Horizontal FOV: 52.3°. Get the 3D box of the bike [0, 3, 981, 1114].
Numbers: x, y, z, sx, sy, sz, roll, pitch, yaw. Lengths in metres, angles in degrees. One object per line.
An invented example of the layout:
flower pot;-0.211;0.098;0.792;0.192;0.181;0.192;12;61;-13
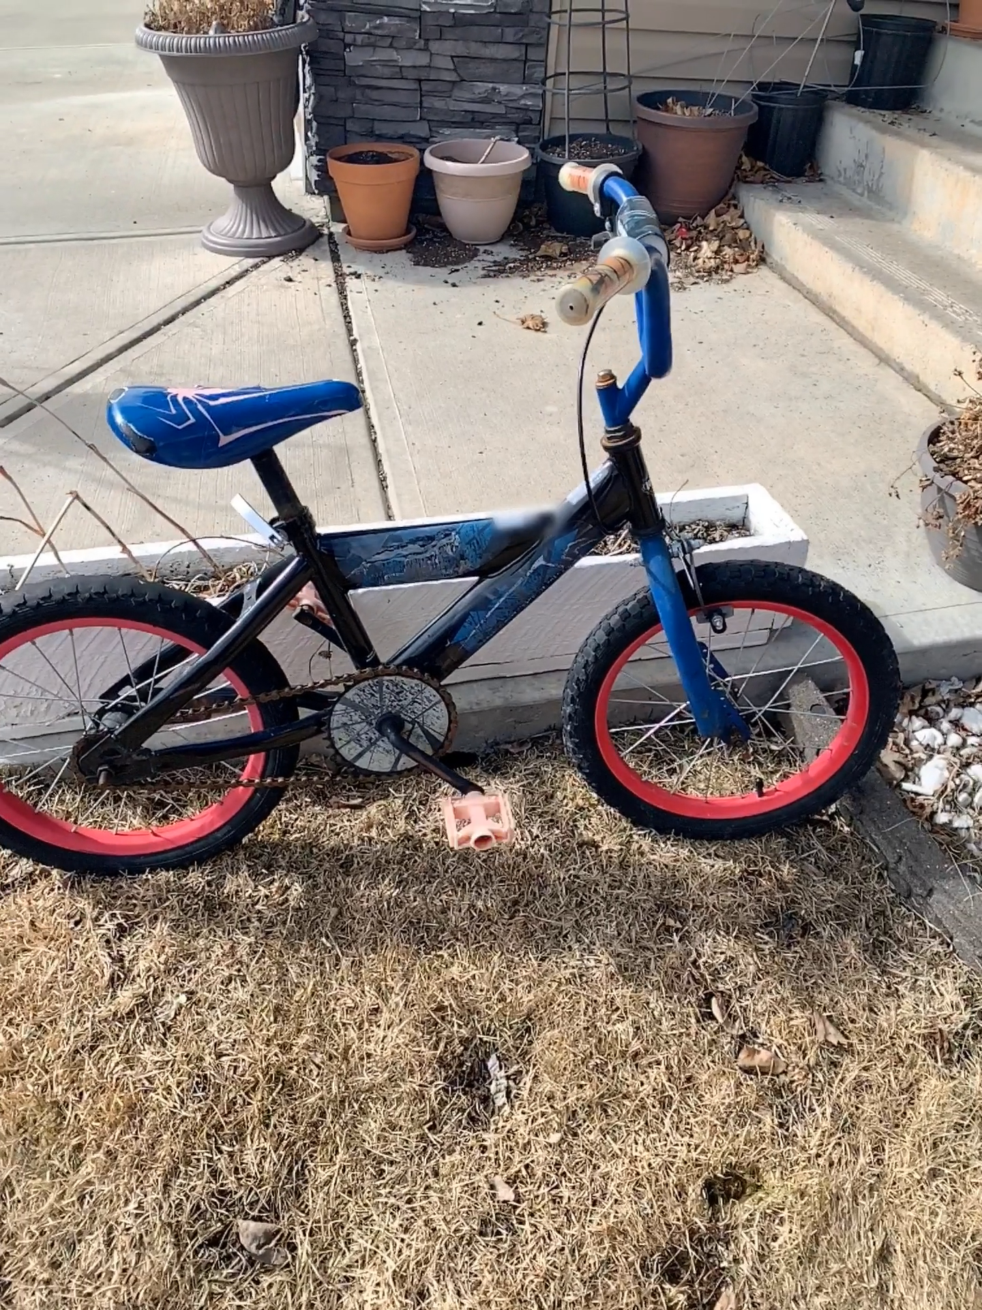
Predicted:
bike;-0.054;-0.069;0.903;1.023;0.728;0.538;-4;38;-2
